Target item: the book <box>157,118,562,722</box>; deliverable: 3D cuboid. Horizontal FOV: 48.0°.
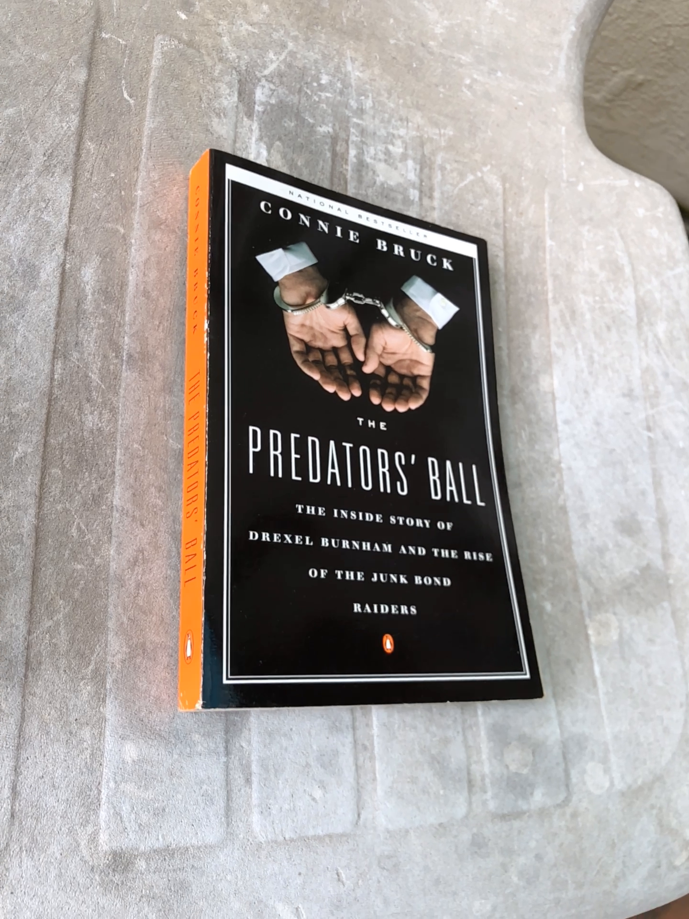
[{"bbox_3d":[0.006,-0.014,0.295,0.141,0.030,0.210,8,68,-28],"label":"book"}]
